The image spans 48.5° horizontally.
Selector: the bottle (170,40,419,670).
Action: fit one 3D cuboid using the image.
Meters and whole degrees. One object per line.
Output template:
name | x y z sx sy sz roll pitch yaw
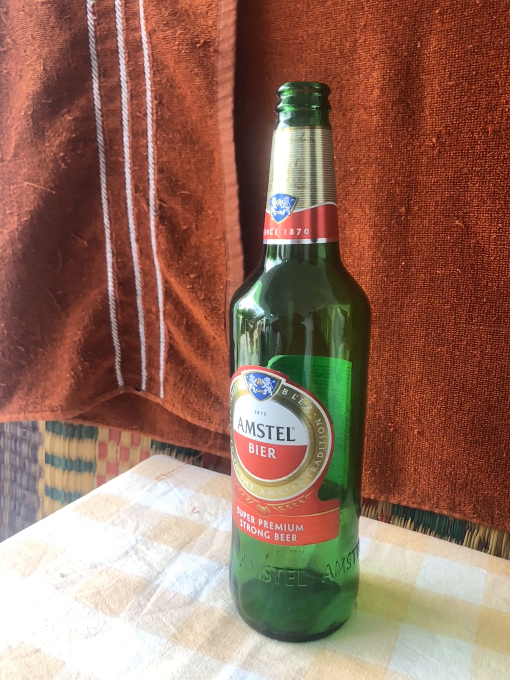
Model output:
bottle | 0.016 0.010 0.288 0.080 0.269 0.080 1 14 0
